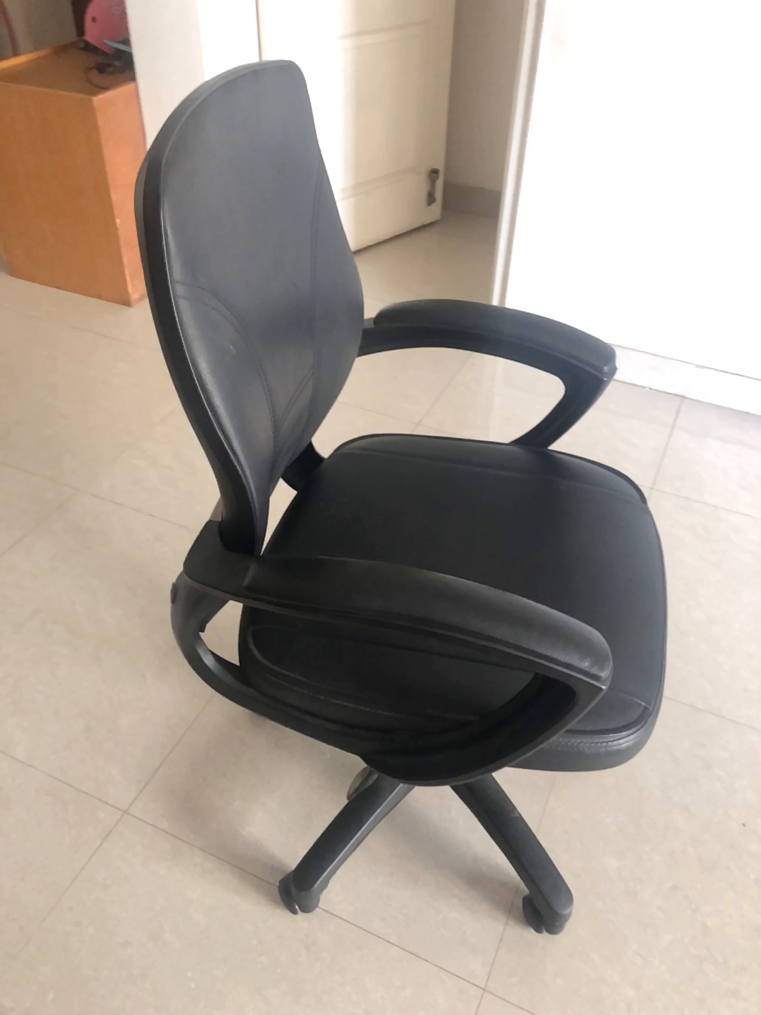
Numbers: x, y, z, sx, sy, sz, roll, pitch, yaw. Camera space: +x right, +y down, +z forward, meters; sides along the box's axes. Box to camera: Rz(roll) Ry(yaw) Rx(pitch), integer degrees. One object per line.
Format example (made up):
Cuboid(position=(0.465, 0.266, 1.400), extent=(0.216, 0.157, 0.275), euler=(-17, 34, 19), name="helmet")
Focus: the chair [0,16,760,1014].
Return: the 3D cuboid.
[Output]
Cuboid(position=(0.097, 0.008, 1.057), extent=(0.630, 0.953, 0.705), euler=(11, 41, 10), name="chair")
